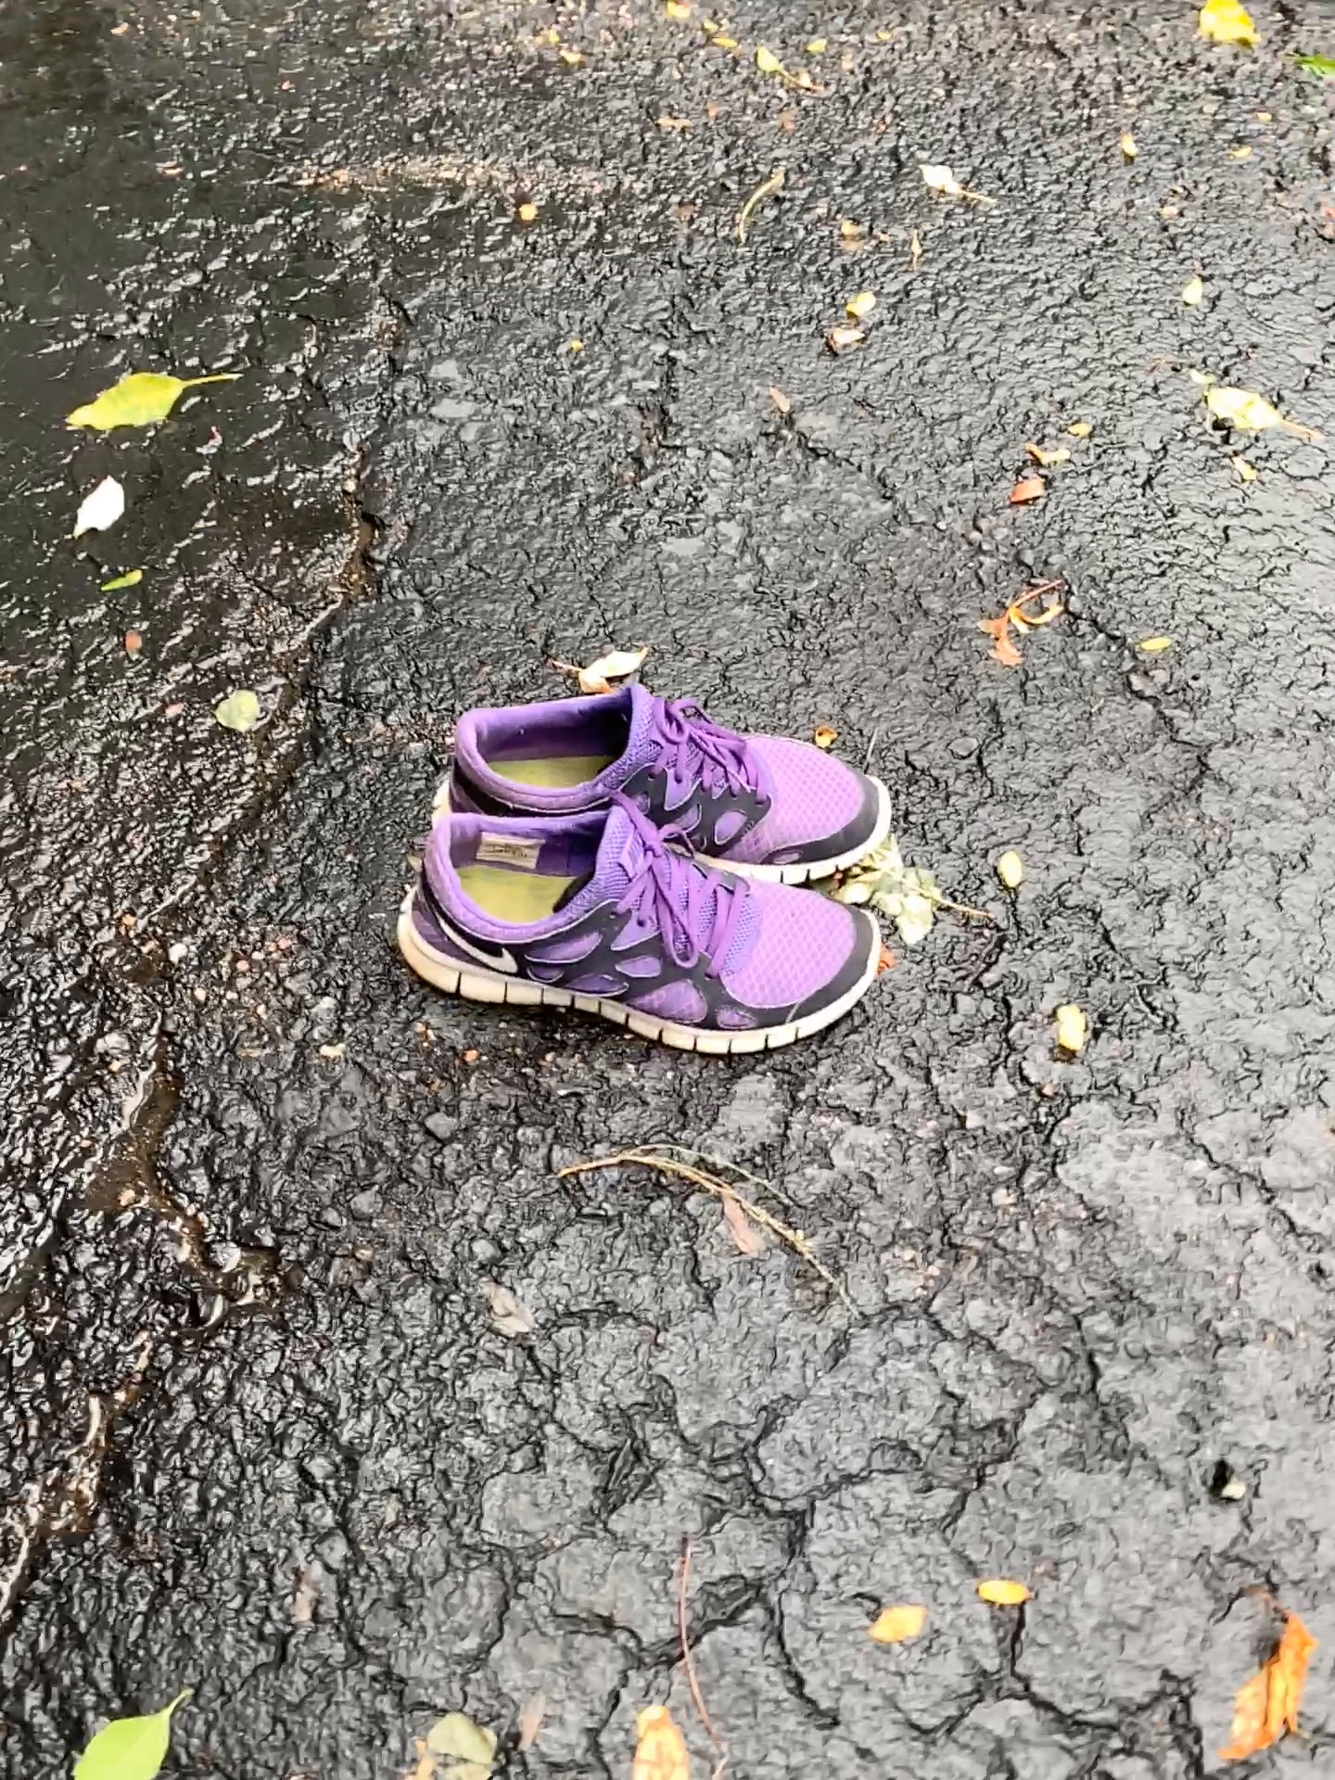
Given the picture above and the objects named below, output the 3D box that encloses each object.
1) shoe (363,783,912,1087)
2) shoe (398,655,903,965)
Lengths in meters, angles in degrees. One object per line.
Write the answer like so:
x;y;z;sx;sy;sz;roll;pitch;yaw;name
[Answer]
-0.016;0.028;0.804;0.300;0.090;0.110;8;54;-4;shoe
-0.011;-0.049;0.872;0.300;0.100;0.110;10;54;-7;shoe
